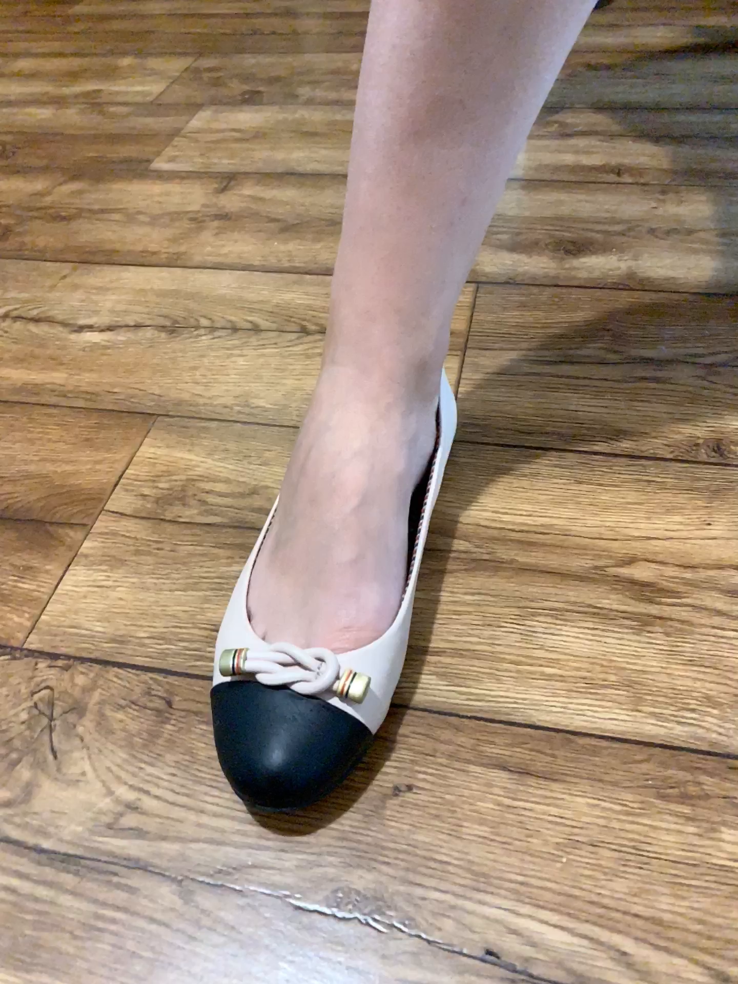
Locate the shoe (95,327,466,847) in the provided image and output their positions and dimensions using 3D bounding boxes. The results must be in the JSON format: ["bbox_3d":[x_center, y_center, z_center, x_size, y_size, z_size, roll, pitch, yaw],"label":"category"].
[{"bbox_3d":[-0.018,0.020,0.327,0.083,0.059,0.221,8,47,13],"label":"shoe"}]
